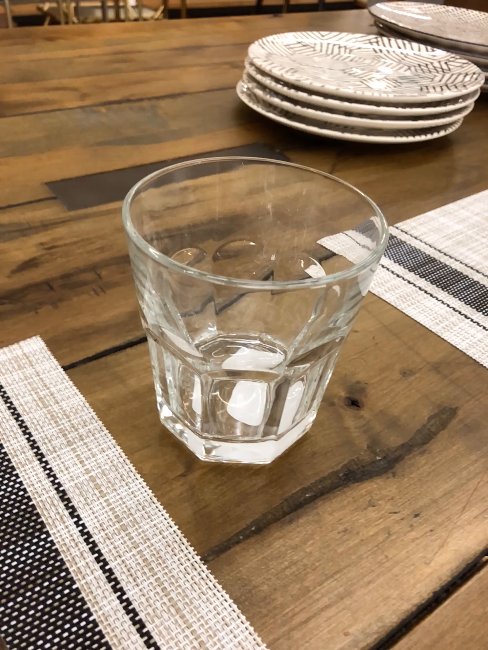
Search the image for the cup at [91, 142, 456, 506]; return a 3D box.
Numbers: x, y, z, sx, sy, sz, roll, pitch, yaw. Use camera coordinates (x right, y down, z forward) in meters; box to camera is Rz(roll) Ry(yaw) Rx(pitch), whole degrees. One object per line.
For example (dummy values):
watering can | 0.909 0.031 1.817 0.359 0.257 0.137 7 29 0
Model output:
cup | 0.001 -0.008 0.199 0.087 0.081 0.090 4 38 -3
